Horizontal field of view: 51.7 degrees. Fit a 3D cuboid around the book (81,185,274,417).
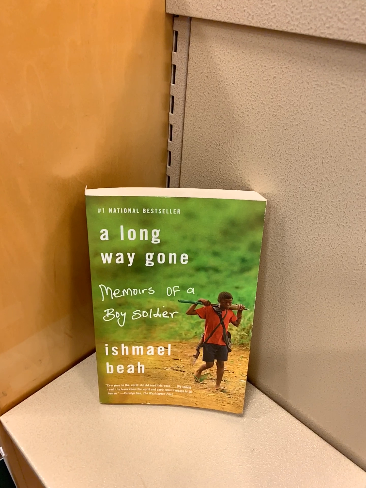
[{"bbox_3d":[-0.008,0.058,0.325,0.140,0.209,0.020,3,24,3],"label":"book"}]
